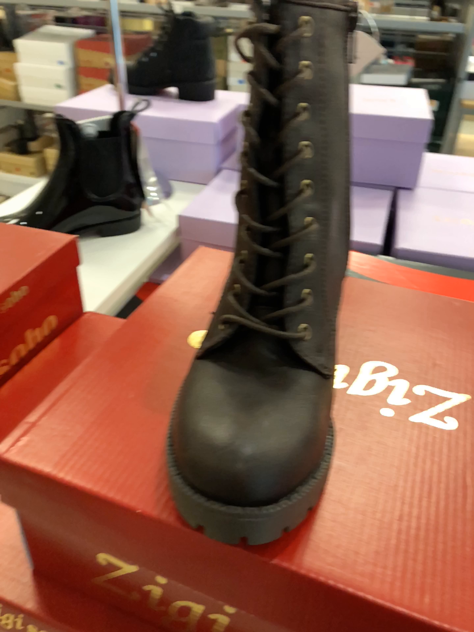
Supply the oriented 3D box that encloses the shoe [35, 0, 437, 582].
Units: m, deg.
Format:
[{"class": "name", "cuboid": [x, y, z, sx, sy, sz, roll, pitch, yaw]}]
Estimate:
[{"class": "shoe", "cuboid": [0.023, -0.044, 0.284, 0.100, 0.218, 0.242, 10, 34, 11]}]
